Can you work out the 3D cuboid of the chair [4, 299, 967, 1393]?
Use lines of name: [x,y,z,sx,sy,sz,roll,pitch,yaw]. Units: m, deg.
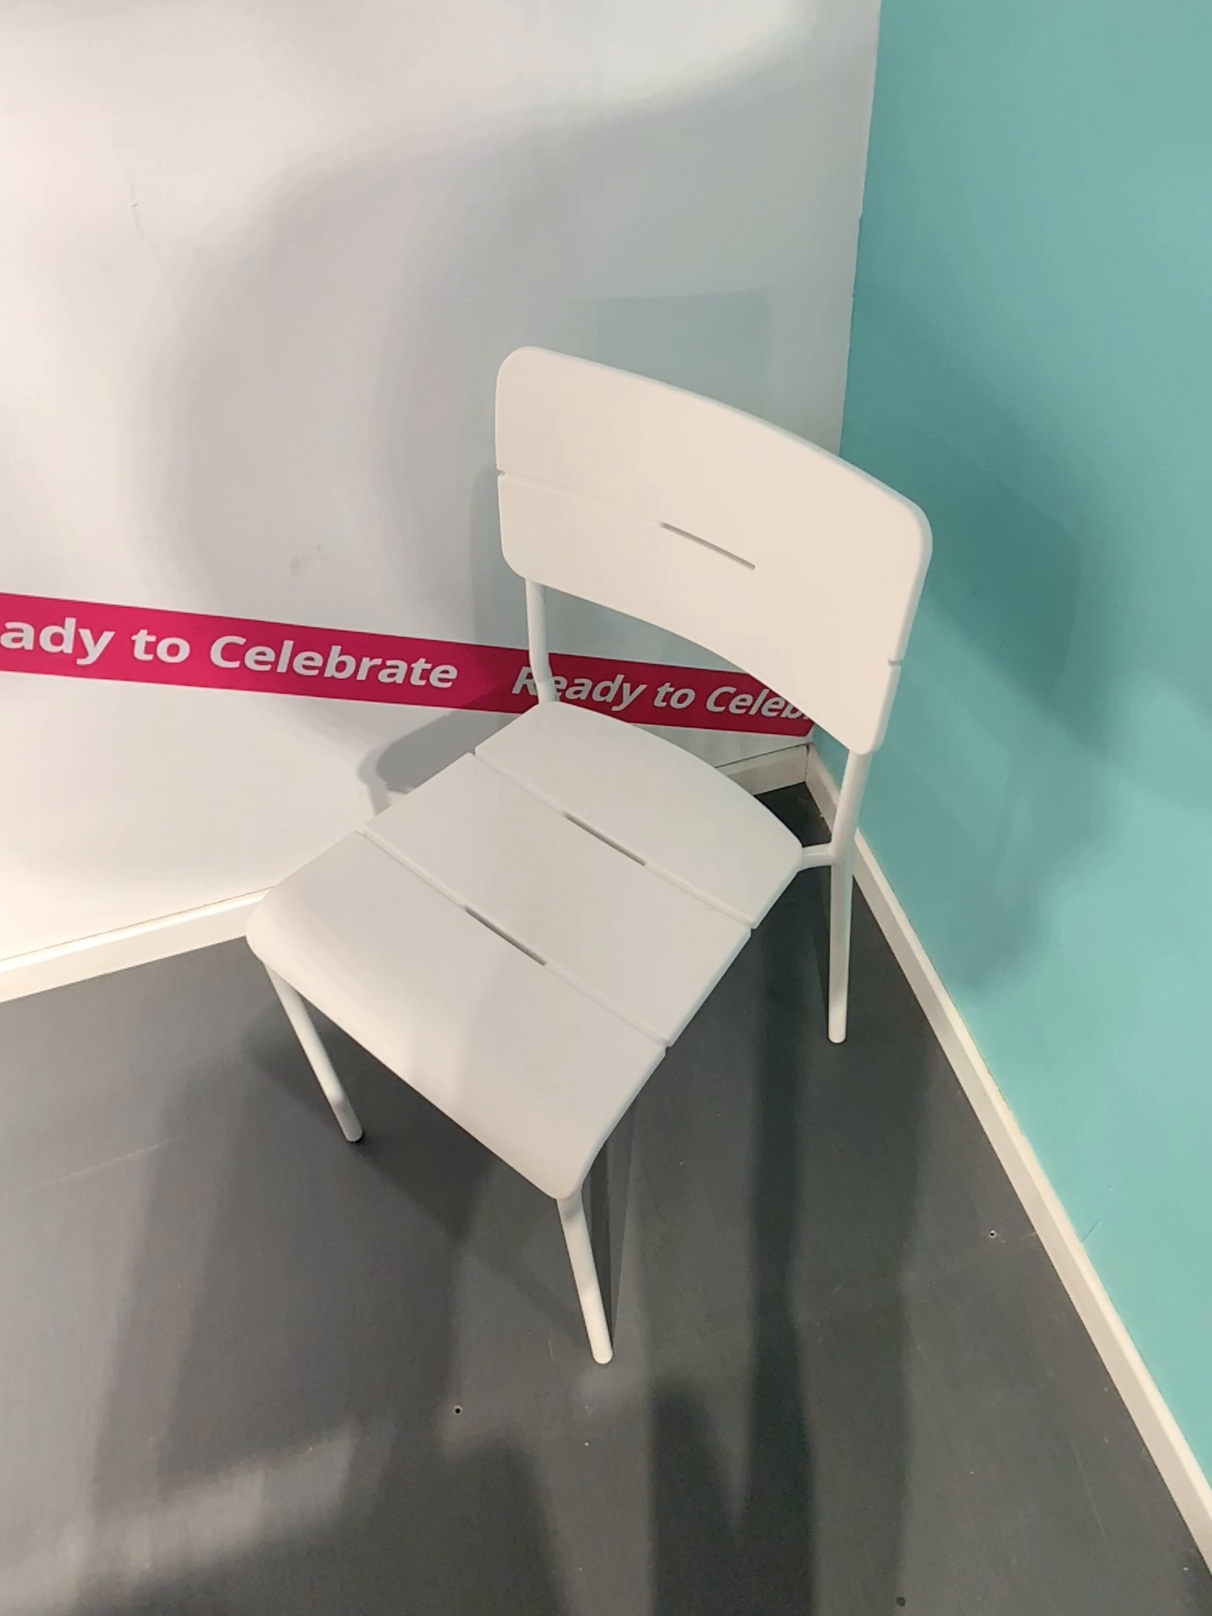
chair: [-0.048,0.087,1.104,0.431,0.808,0.450,32,61,27]
